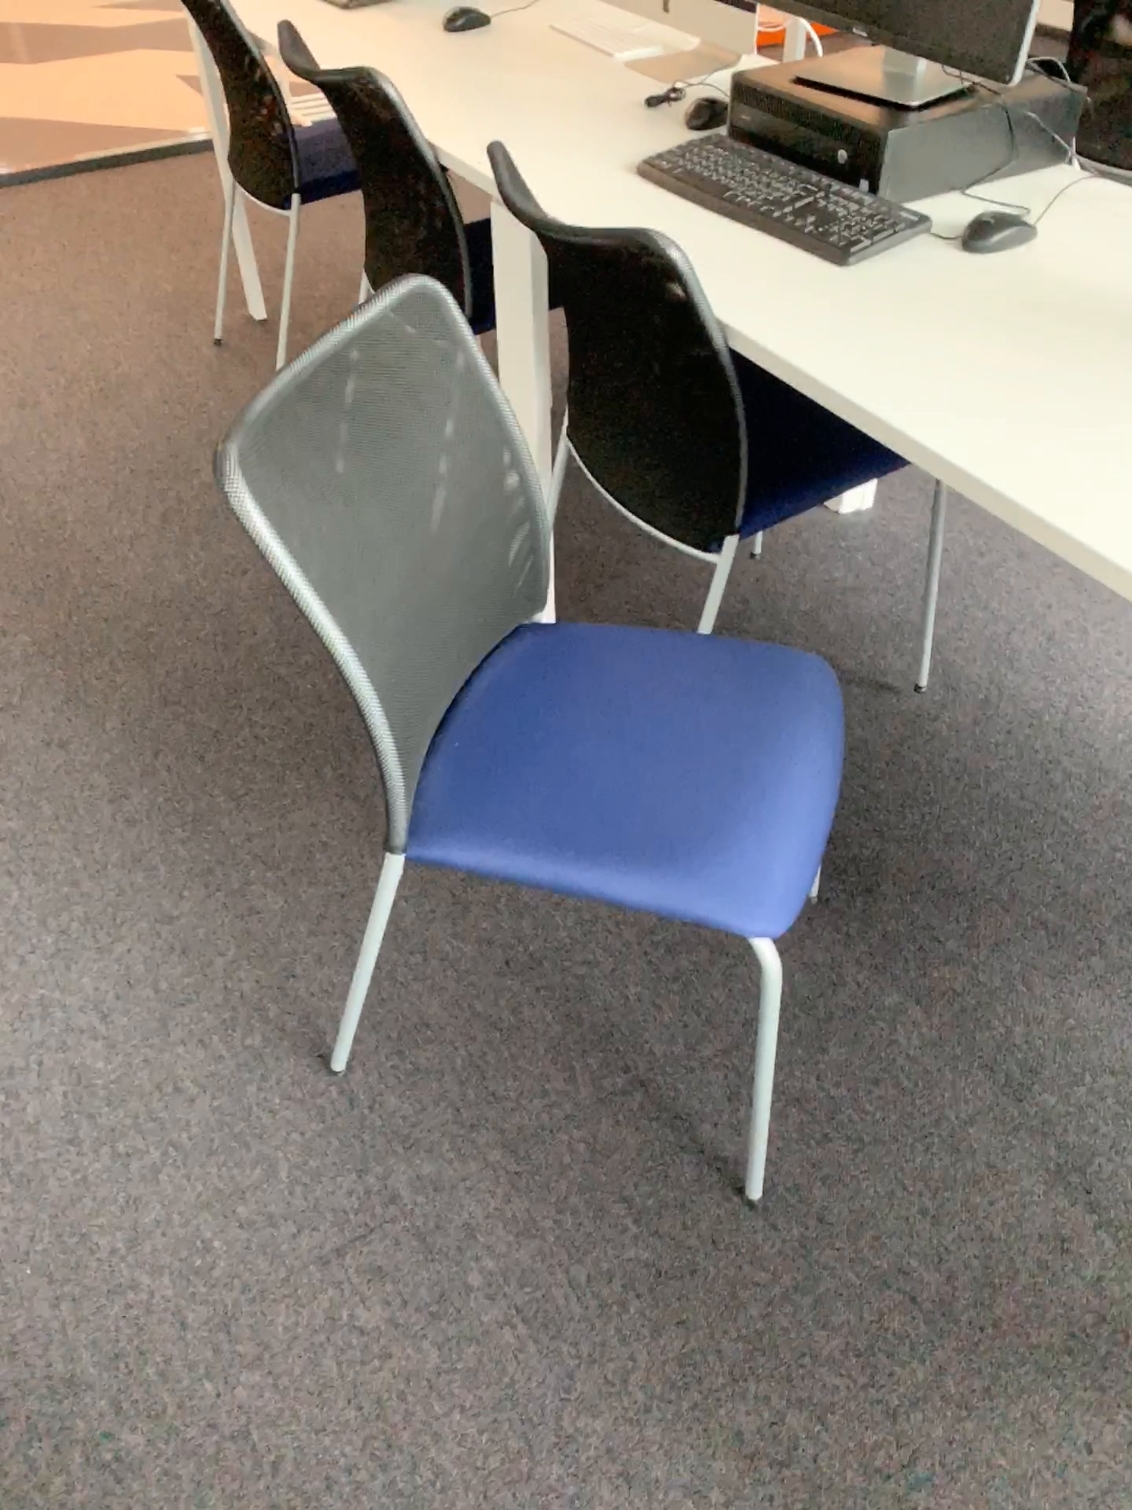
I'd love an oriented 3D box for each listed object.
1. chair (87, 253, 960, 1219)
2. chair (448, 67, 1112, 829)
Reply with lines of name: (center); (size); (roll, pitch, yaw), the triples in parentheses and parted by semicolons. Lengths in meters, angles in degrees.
chair: (0.012, -0.017, 1.324); (0.630, 0.826, 0.573); (13, 45, 14)
chair: (0.269, -0.483, 1.812); (0.651, 0.866, 0.572); (-22, 48, -21)
